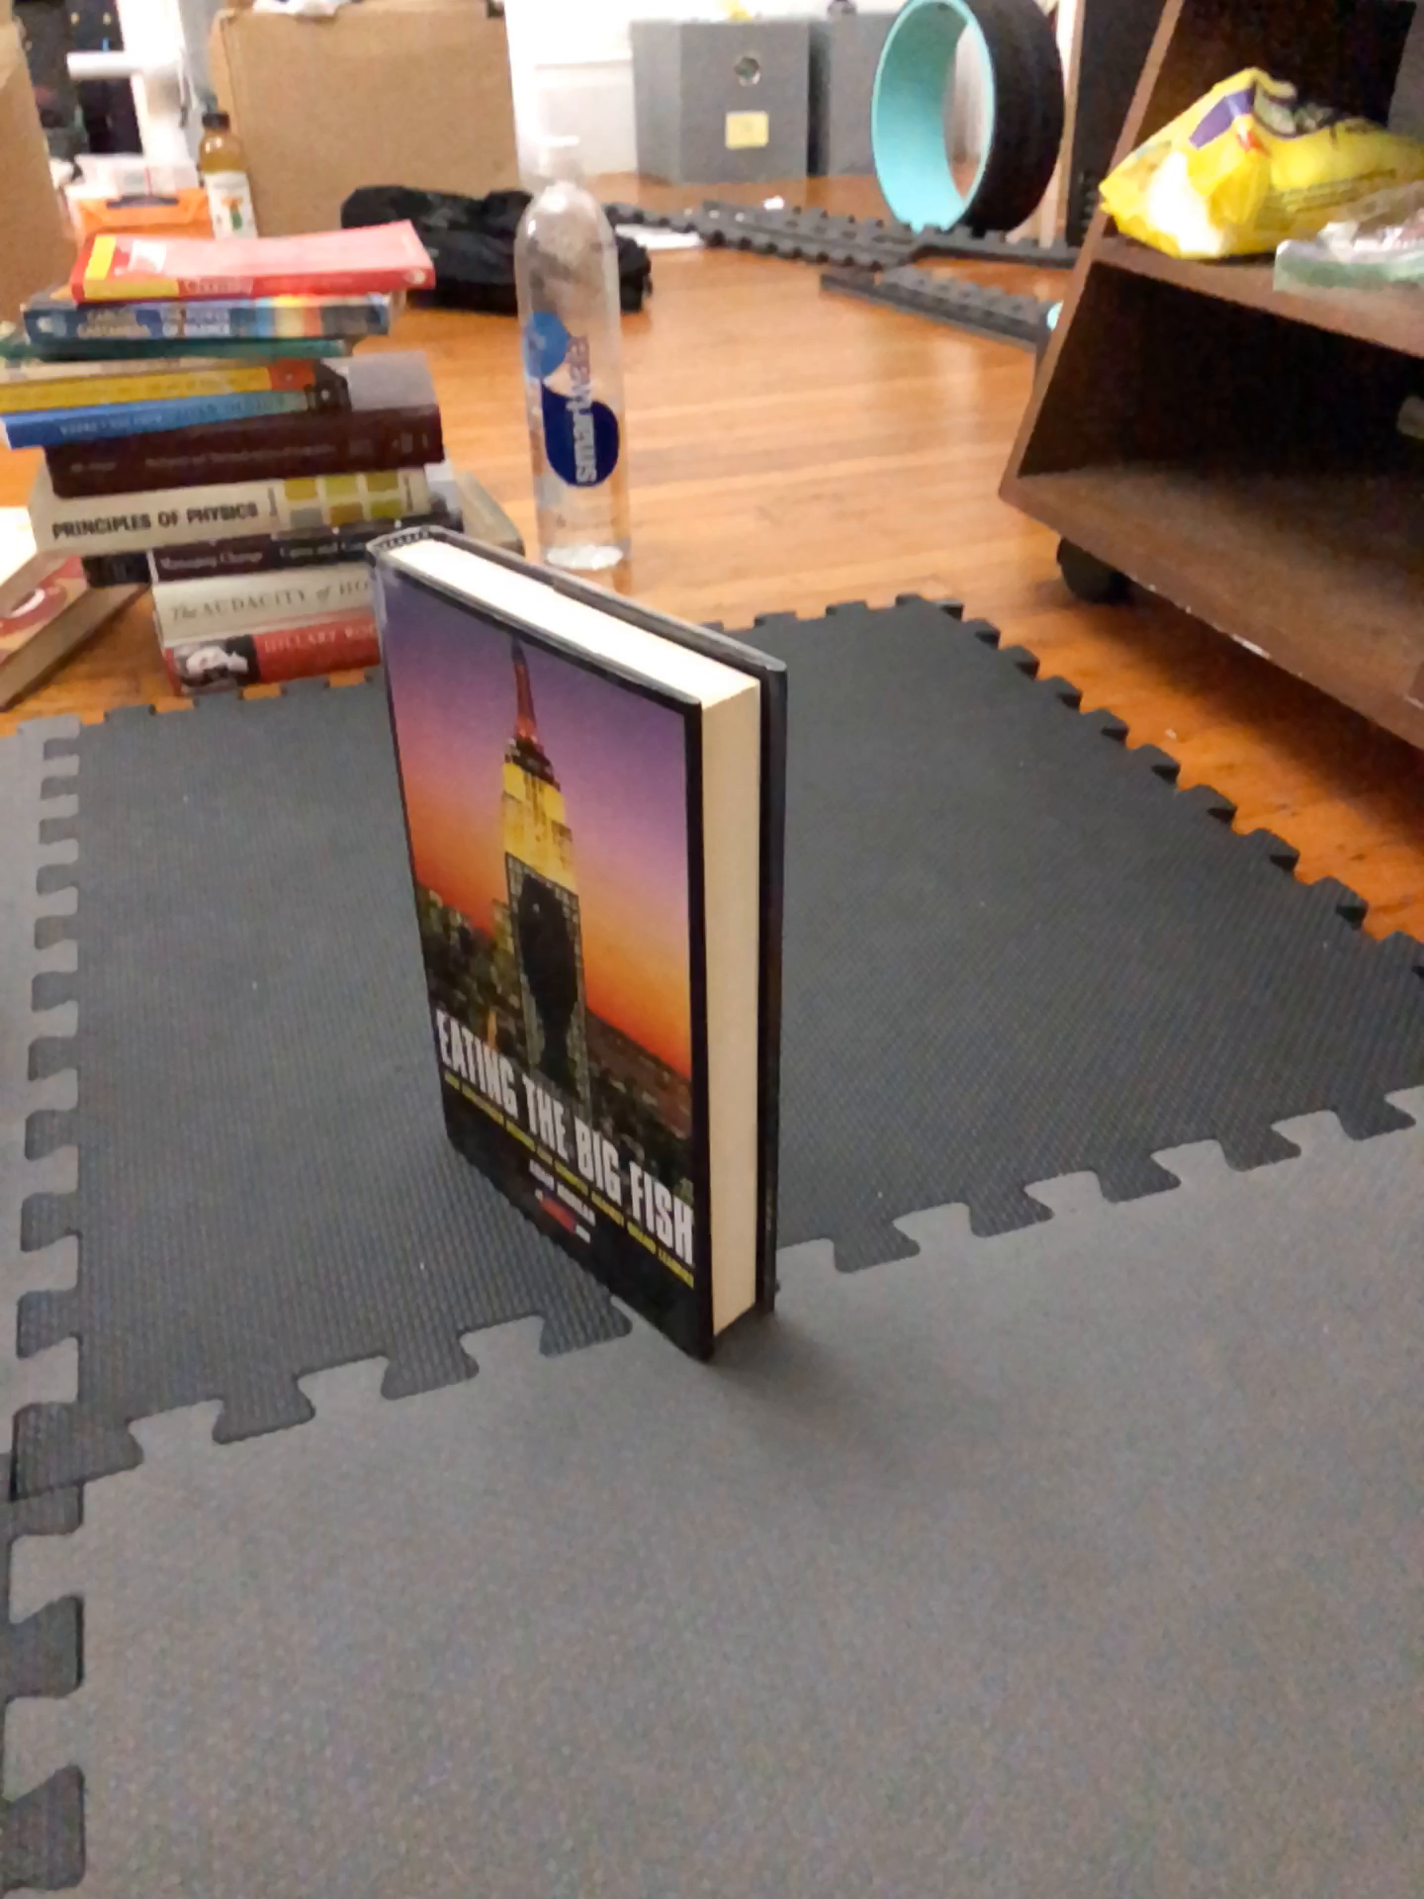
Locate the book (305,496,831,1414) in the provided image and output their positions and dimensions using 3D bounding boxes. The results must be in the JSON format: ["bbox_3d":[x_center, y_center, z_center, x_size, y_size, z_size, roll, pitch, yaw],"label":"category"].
[{"bbox_3d":[-0.044,0.002,0.521,0.050,0.258,0.181,-28,41,-33],"label":"book"}]
